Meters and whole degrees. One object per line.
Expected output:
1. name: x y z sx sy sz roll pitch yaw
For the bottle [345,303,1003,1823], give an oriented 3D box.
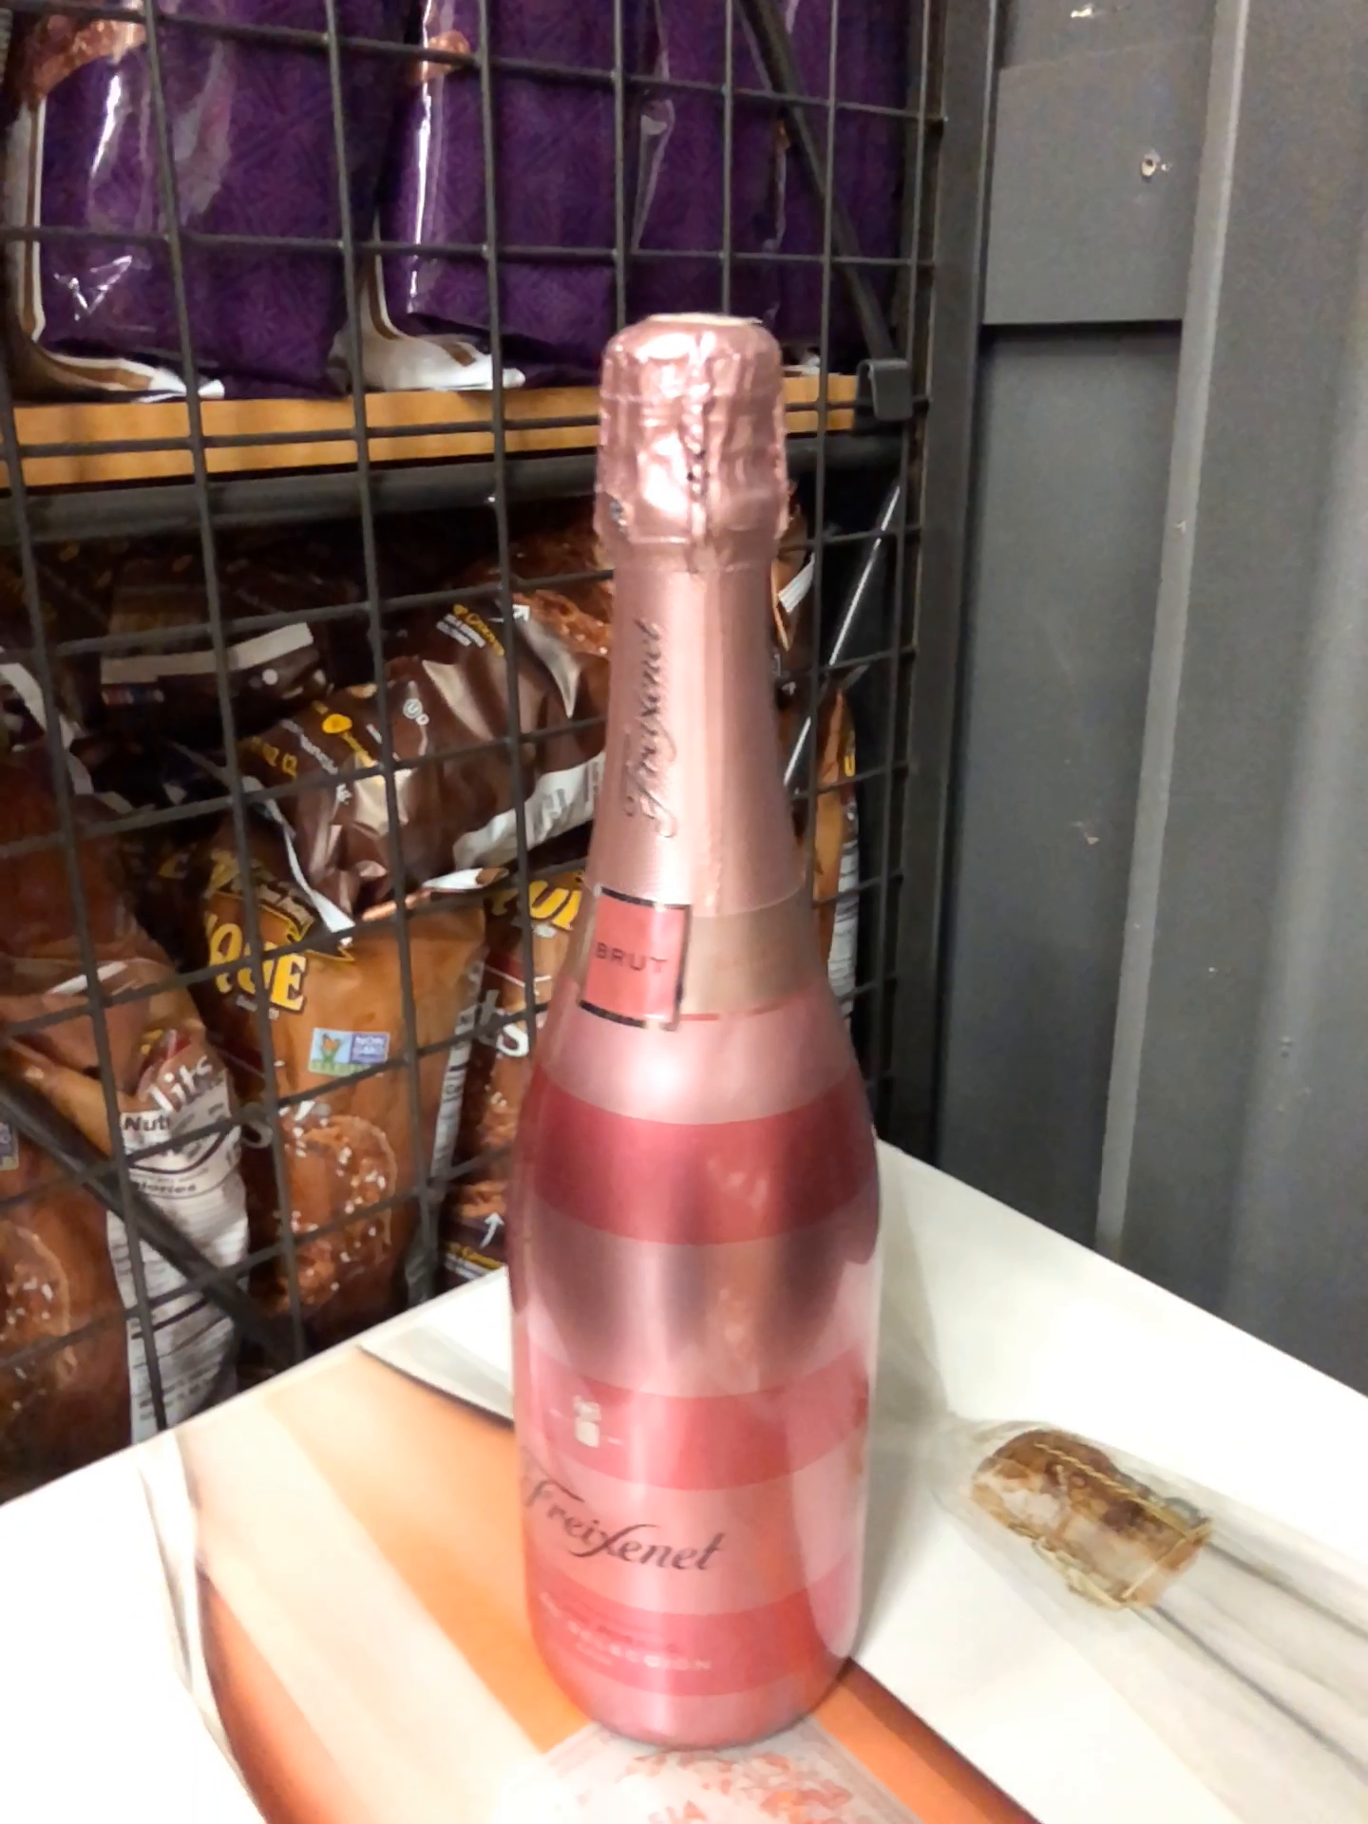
1. bottle: 0.003 0.035 0.332 0.090 0.309 0.090 0 20 0
